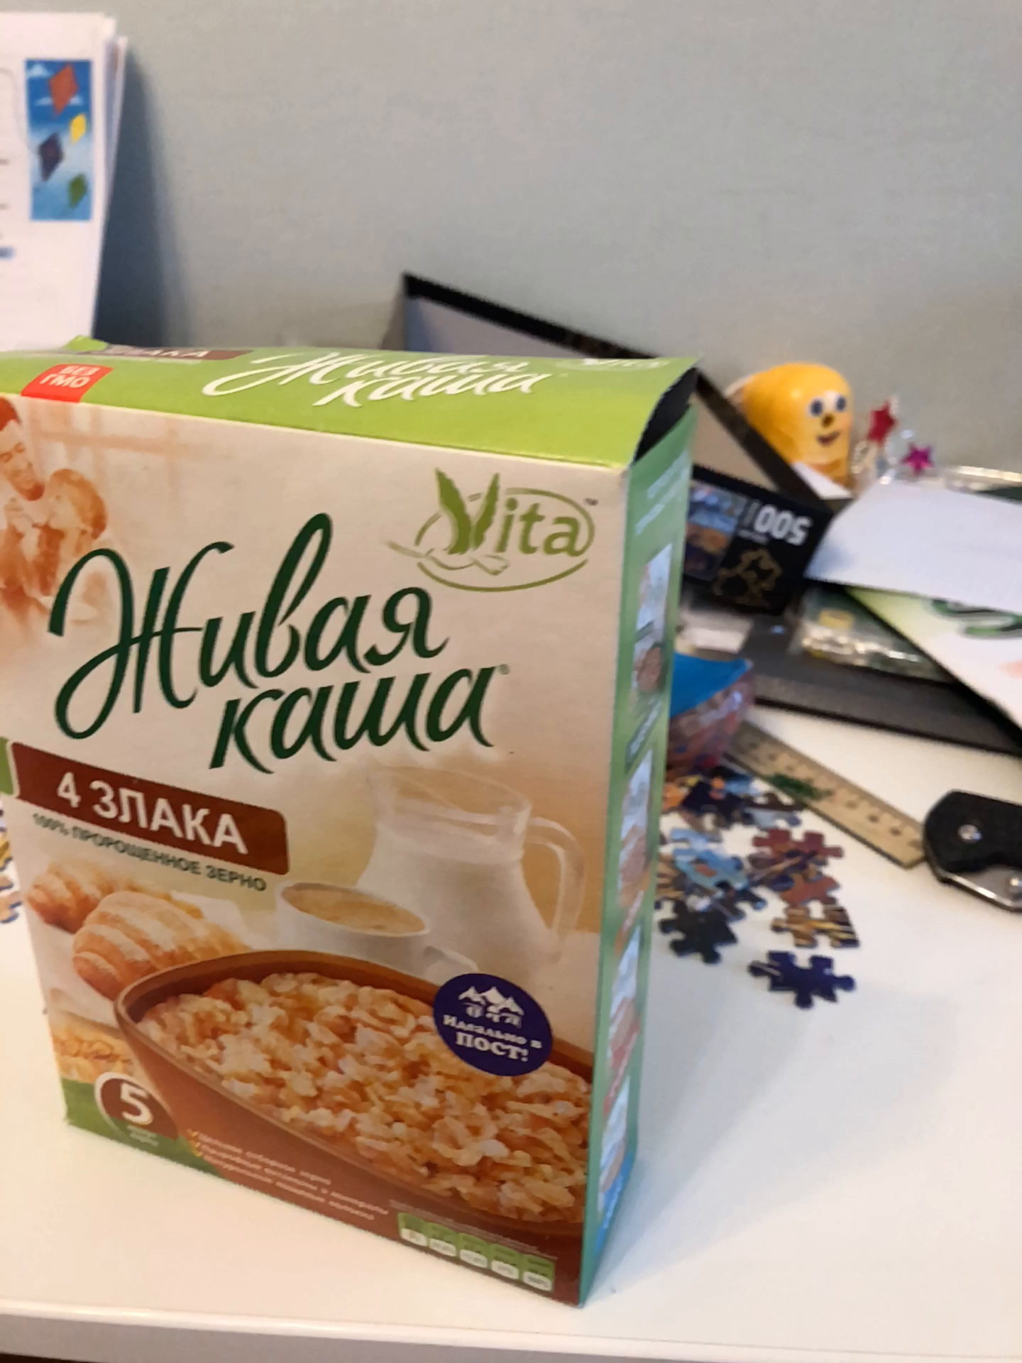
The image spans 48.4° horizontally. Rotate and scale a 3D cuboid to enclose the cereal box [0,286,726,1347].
[{"bbox_3d":[-0.038,0.031,0.249,0.140,0.209,0.050,11,28,19],"label":"cereal box"}]
